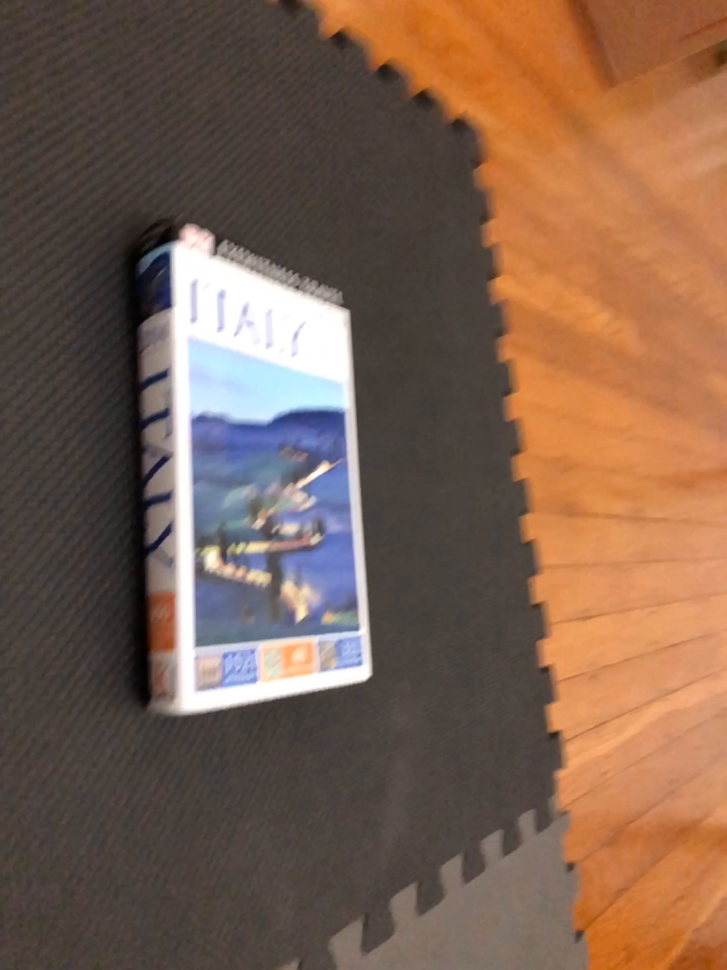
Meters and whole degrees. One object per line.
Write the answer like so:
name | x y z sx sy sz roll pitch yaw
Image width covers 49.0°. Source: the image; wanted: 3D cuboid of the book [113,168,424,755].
book | -0.042 -0.009 0.409 0.161 0.040 0.250 6 77 -52
